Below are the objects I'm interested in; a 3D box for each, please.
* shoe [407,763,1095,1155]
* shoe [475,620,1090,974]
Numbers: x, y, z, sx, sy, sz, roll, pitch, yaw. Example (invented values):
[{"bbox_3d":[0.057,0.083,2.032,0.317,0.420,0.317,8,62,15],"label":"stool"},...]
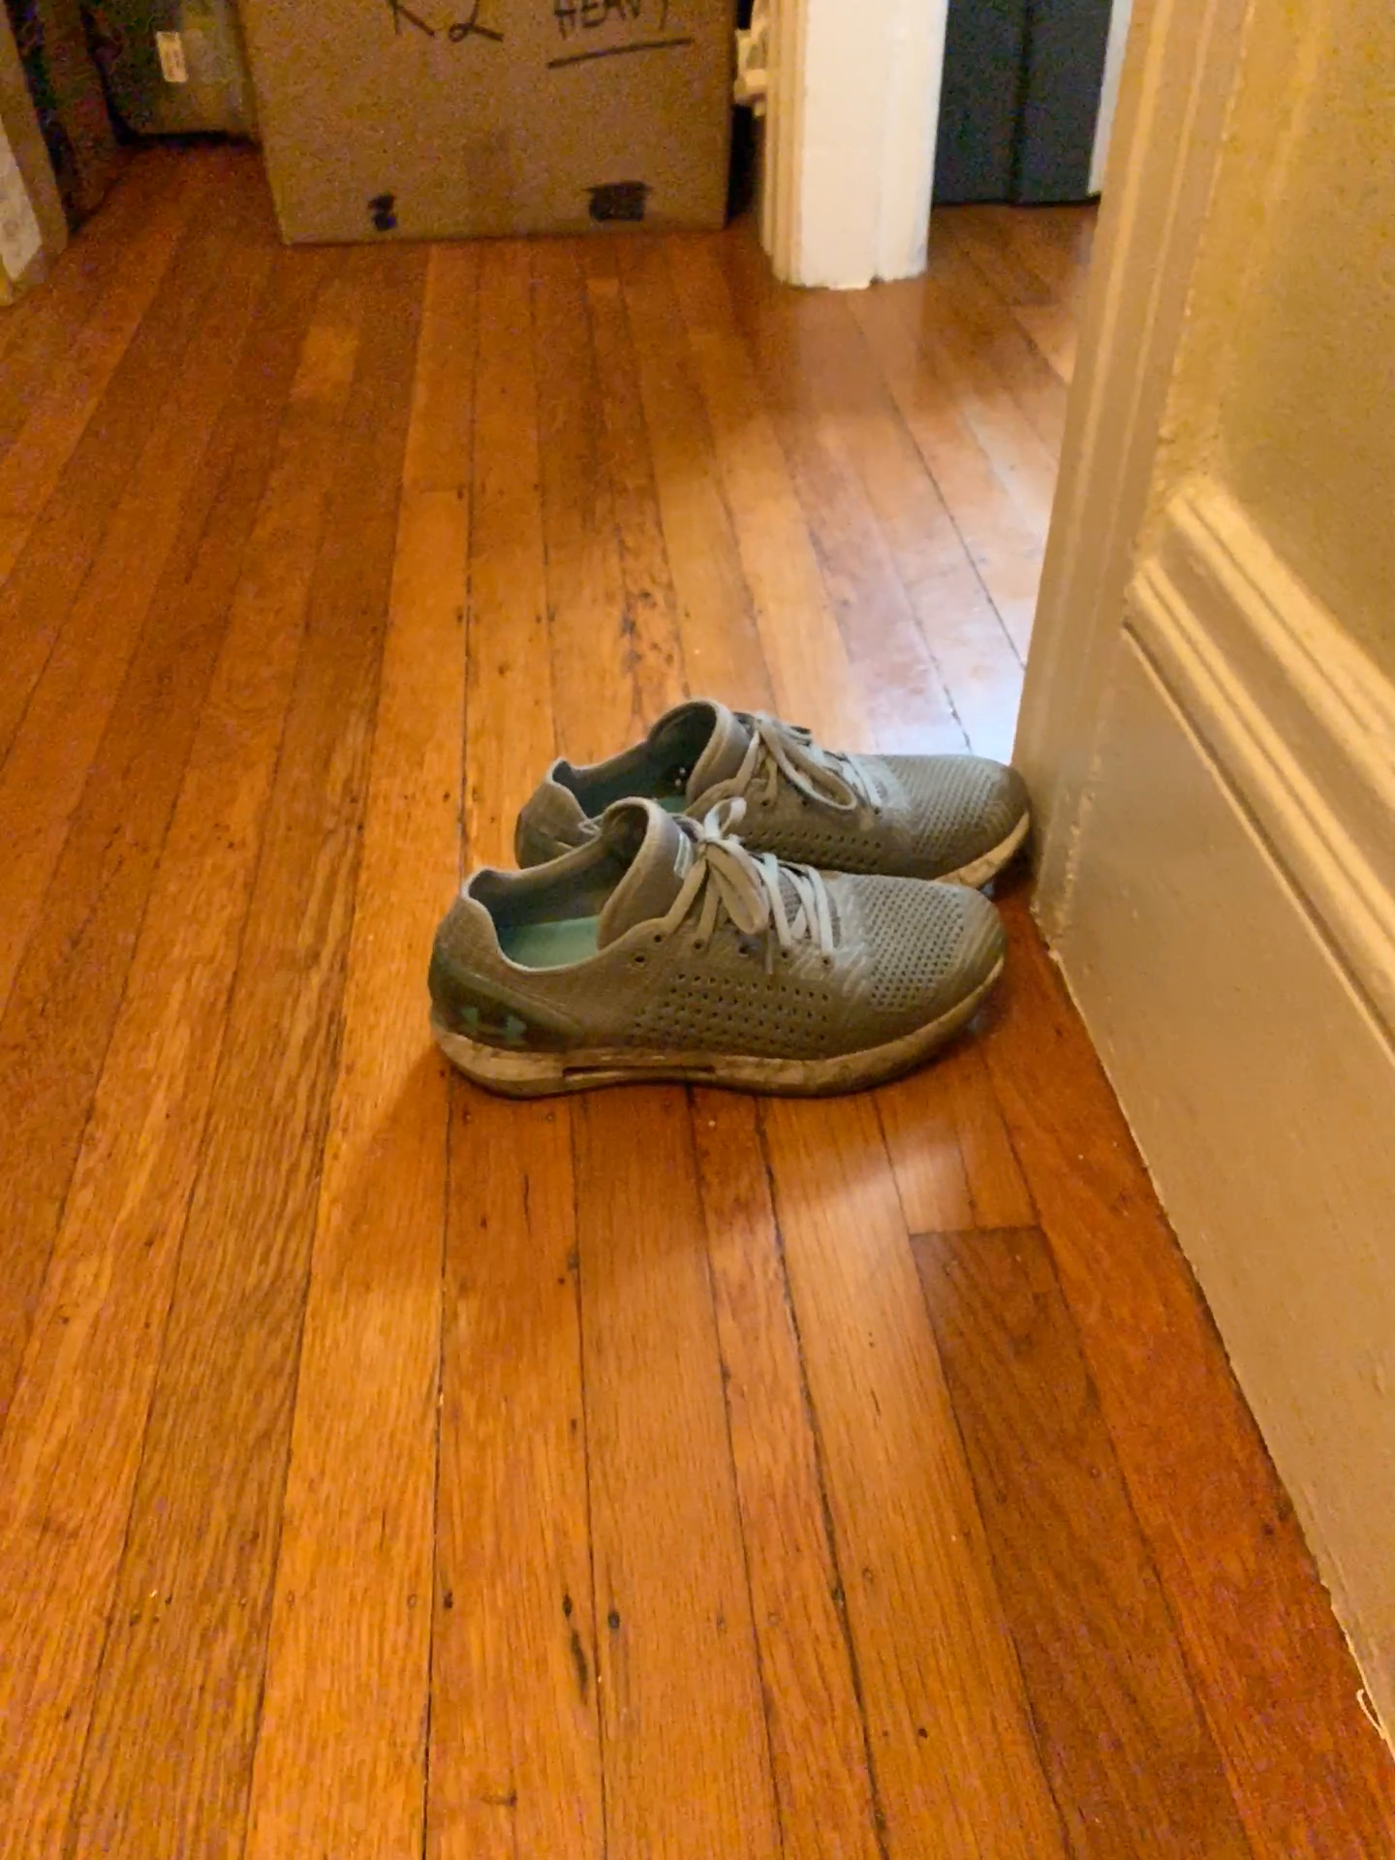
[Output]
[{"bbox_3d":[0.017,0.009,0.629,0.270,0.089,0.111,-7,42,-6],"label":"shoe"},{"bbox_3d":[0.036,-0.068,0.684,0.260,0.080,0.111,-10,43,-10],"label":"shoe"}]
